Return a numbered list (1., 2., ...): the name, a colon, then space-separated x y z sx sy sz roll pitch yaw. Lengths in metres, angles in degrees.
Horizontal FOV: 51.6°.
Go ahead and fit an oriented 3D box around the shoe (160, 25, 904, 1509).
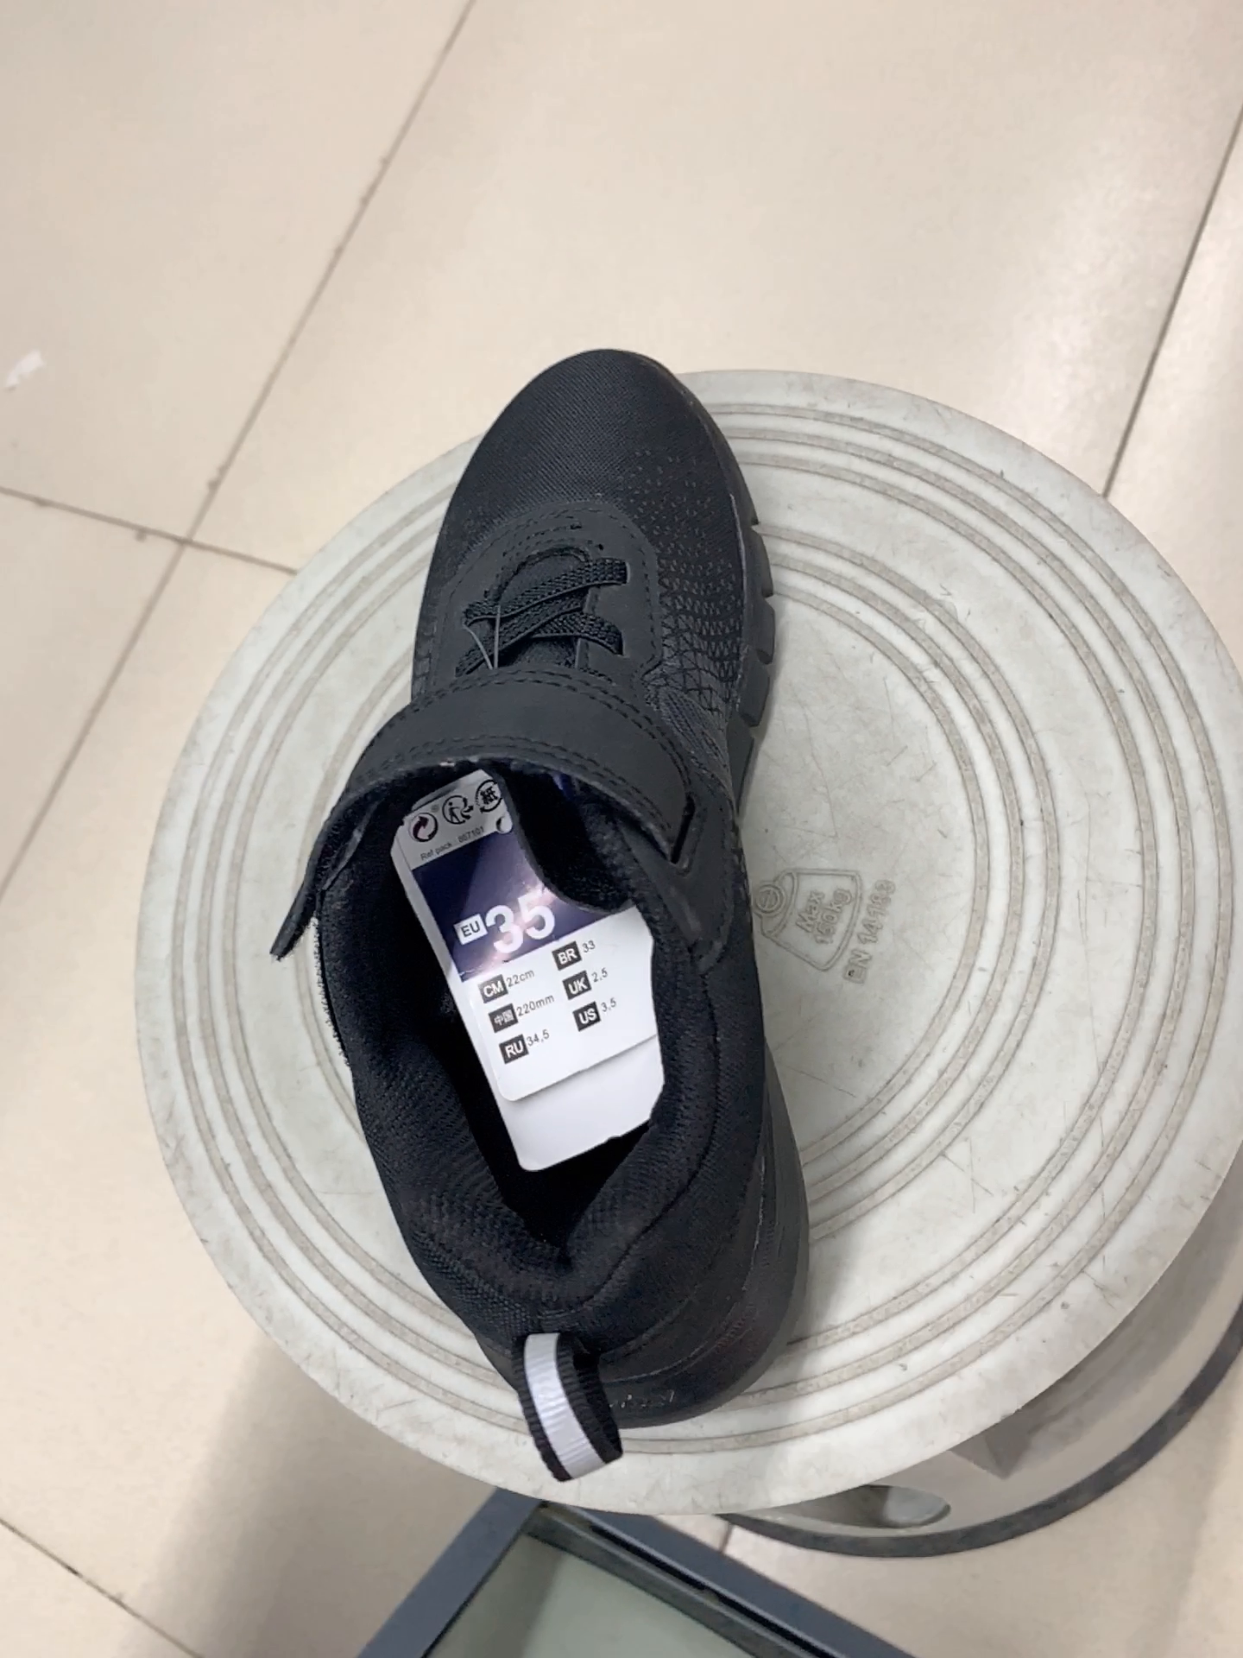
1. shoe: -0.023 -0.018 0.252 0.100 0.080 0.250 -12 69 12
